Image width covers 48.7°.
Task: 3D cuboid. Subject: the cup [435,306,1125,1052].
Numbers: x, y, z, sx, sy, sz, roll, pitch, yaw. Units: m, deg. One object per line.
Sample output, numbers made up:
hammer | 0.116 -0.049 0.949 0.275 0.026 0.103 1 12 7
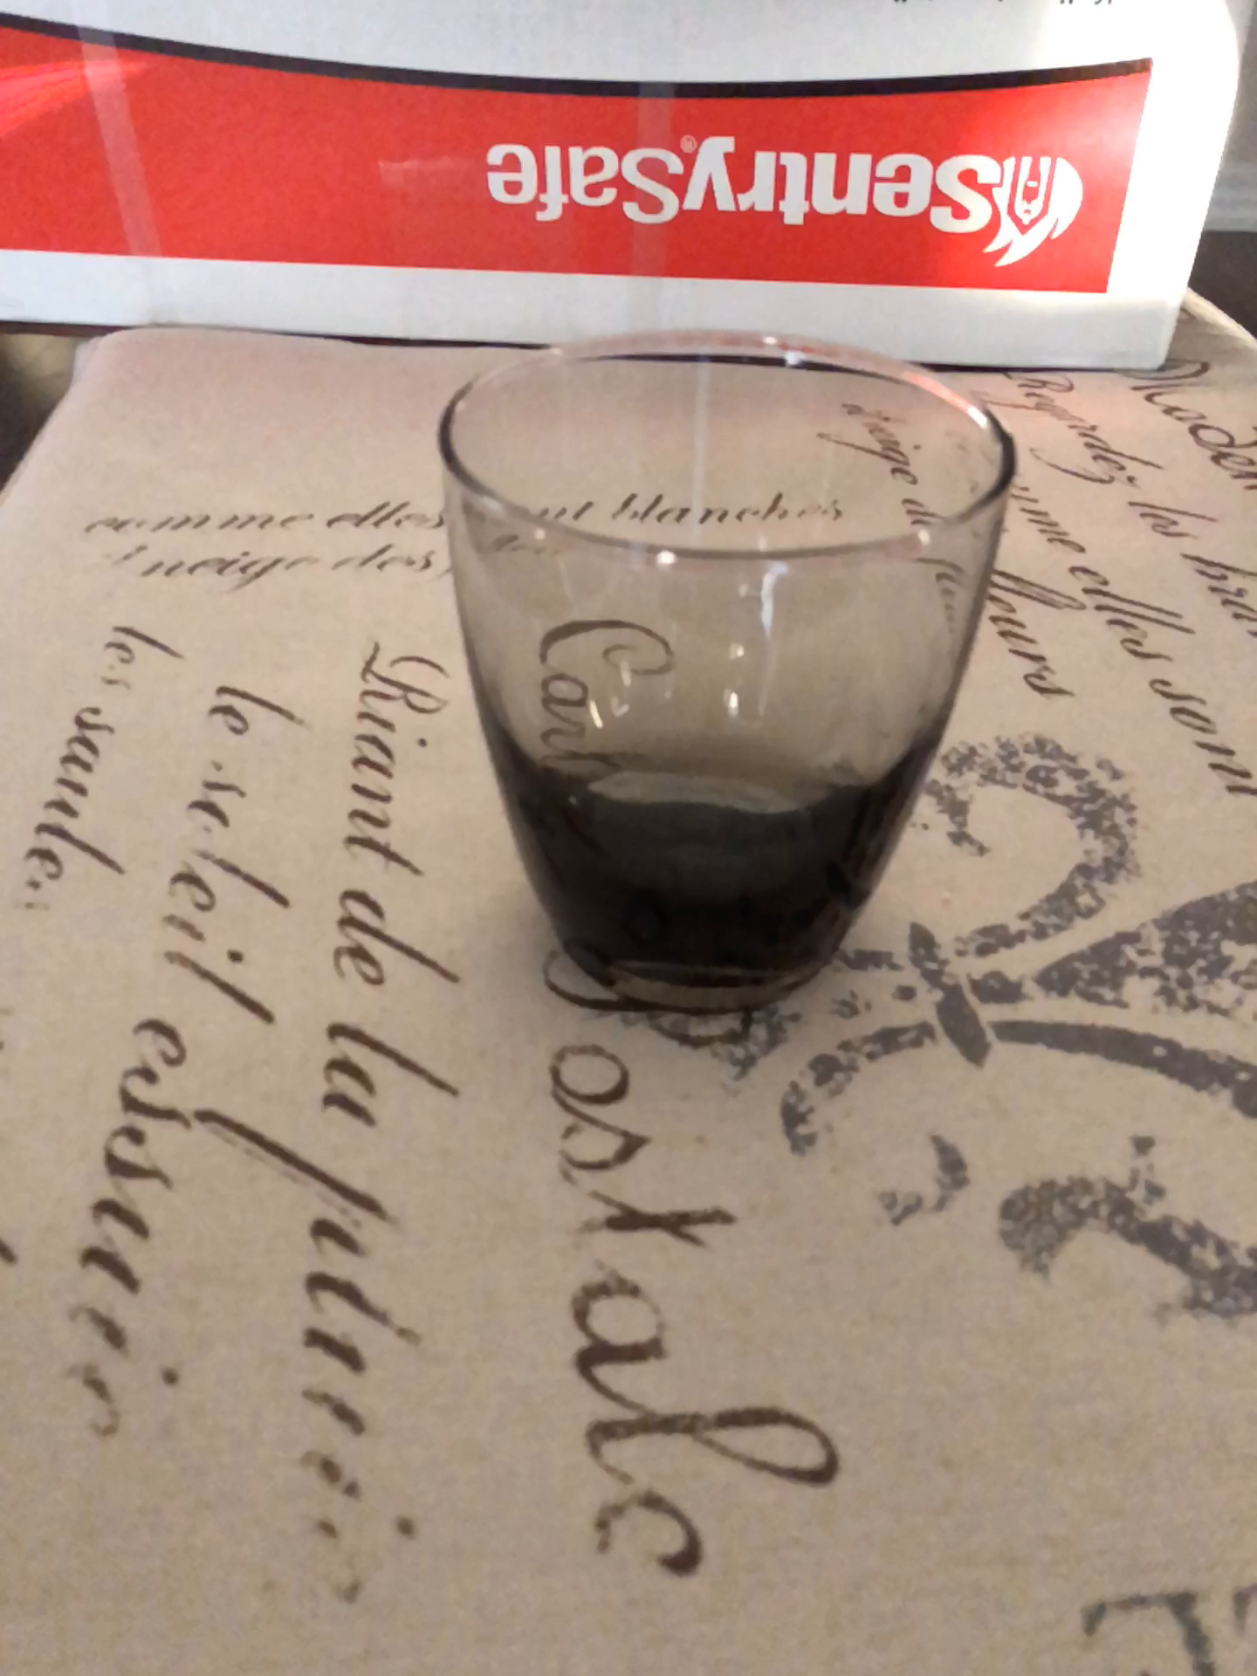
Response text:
cup | 0.015 -0.031 0.242 0.088 0.092 0.088 1 38 -1
